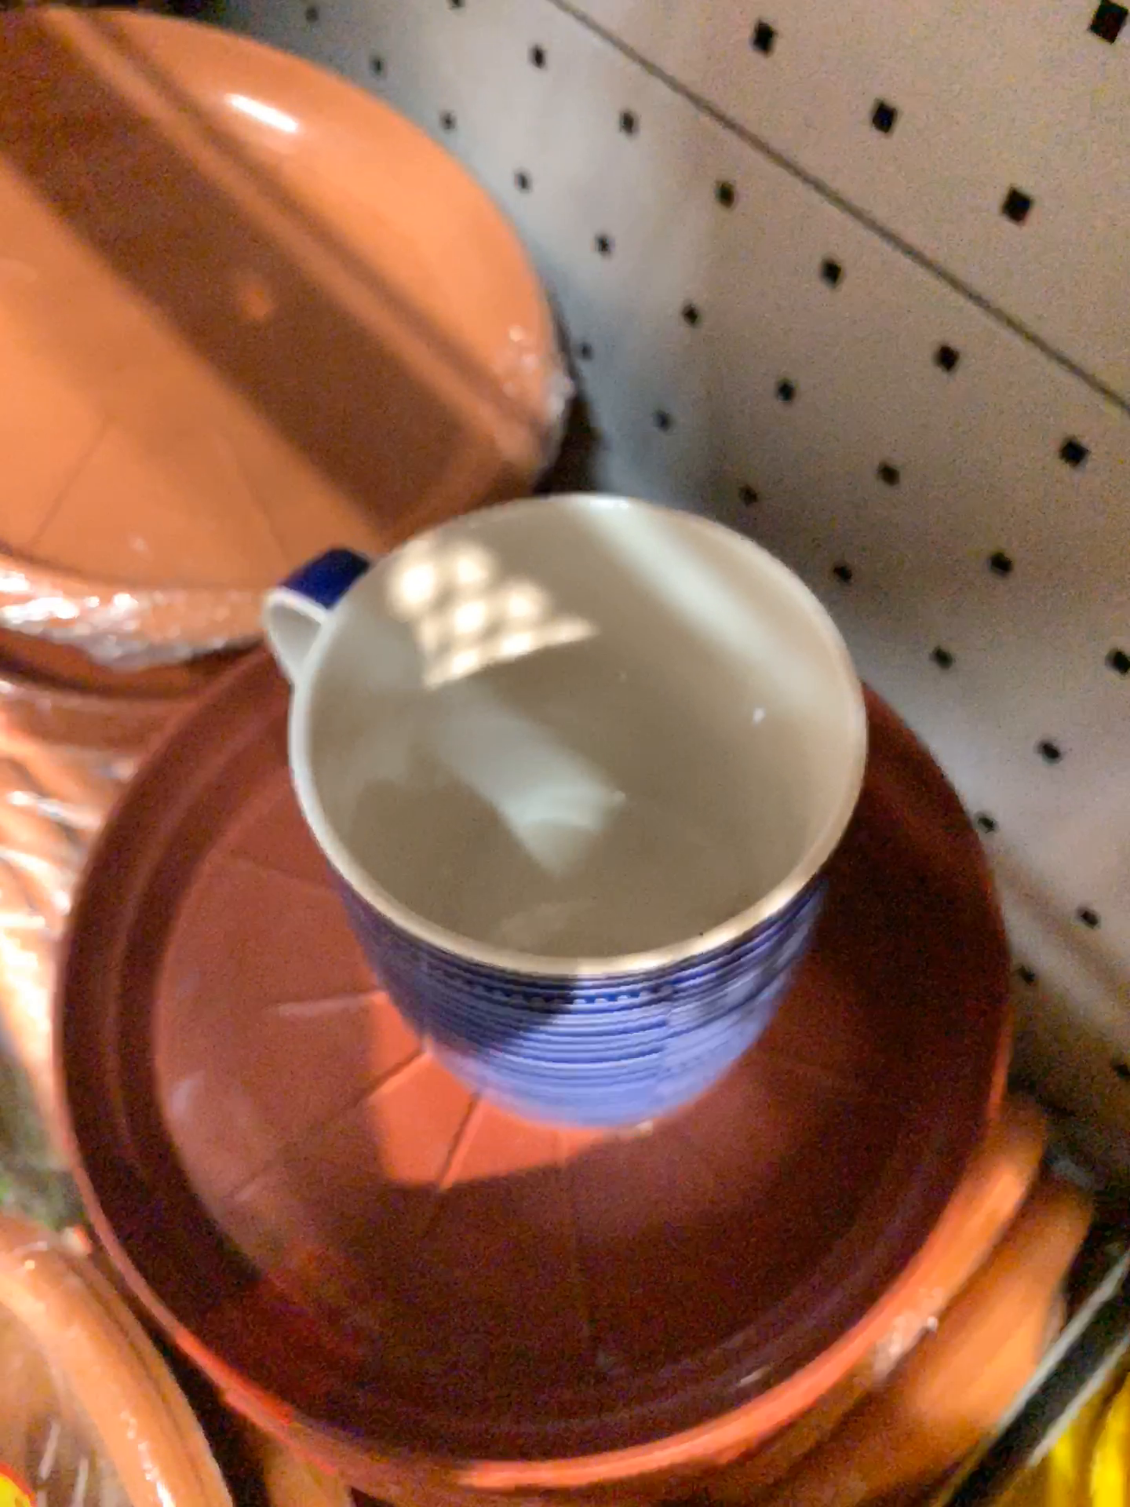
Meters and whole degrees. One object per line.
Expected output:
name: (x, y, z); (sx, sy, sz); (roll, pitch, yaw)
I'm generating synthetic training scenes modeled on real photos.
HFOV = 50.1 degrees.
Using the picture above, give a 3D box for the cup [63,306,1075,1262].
cup: (0.000, 0.005, 0.237); (0.130, 0.100, 0.100); (32, 60, 18)
